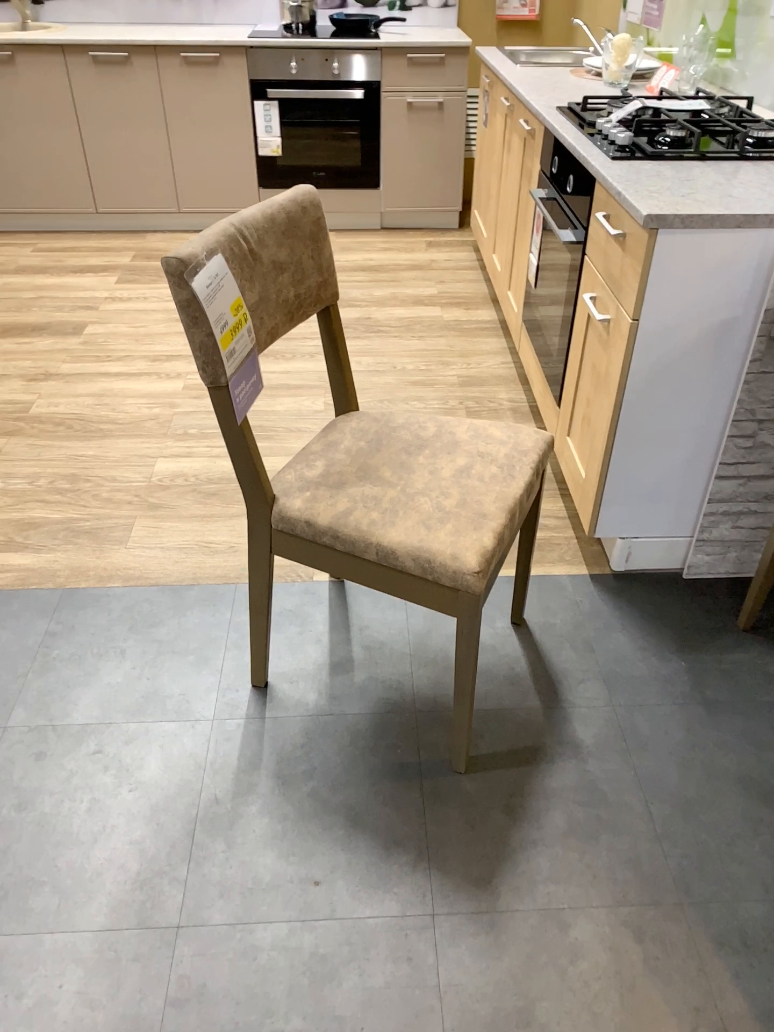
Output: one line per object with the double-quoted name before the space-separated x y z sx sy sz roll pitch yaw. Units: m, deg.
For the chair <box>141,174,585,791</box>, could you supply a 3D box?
"chair" -0.012 -0.057 1.449 0.510 0.924 0.483 14 38 18
